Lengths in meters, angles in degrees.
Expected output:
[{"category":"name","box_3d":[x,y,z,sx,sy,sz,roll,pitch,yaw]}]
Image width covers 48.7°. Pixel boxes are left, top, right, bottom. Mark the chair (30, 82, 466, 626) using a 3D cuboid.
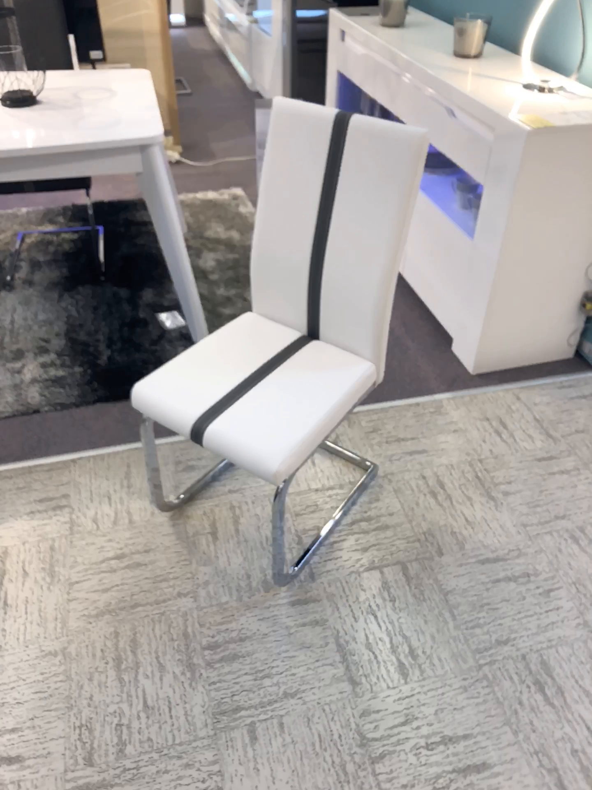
[{"category":"chair","box_3d":[-0.066,-0.092,1.391,0.487,0.878,0.573,26,46,28]}]
